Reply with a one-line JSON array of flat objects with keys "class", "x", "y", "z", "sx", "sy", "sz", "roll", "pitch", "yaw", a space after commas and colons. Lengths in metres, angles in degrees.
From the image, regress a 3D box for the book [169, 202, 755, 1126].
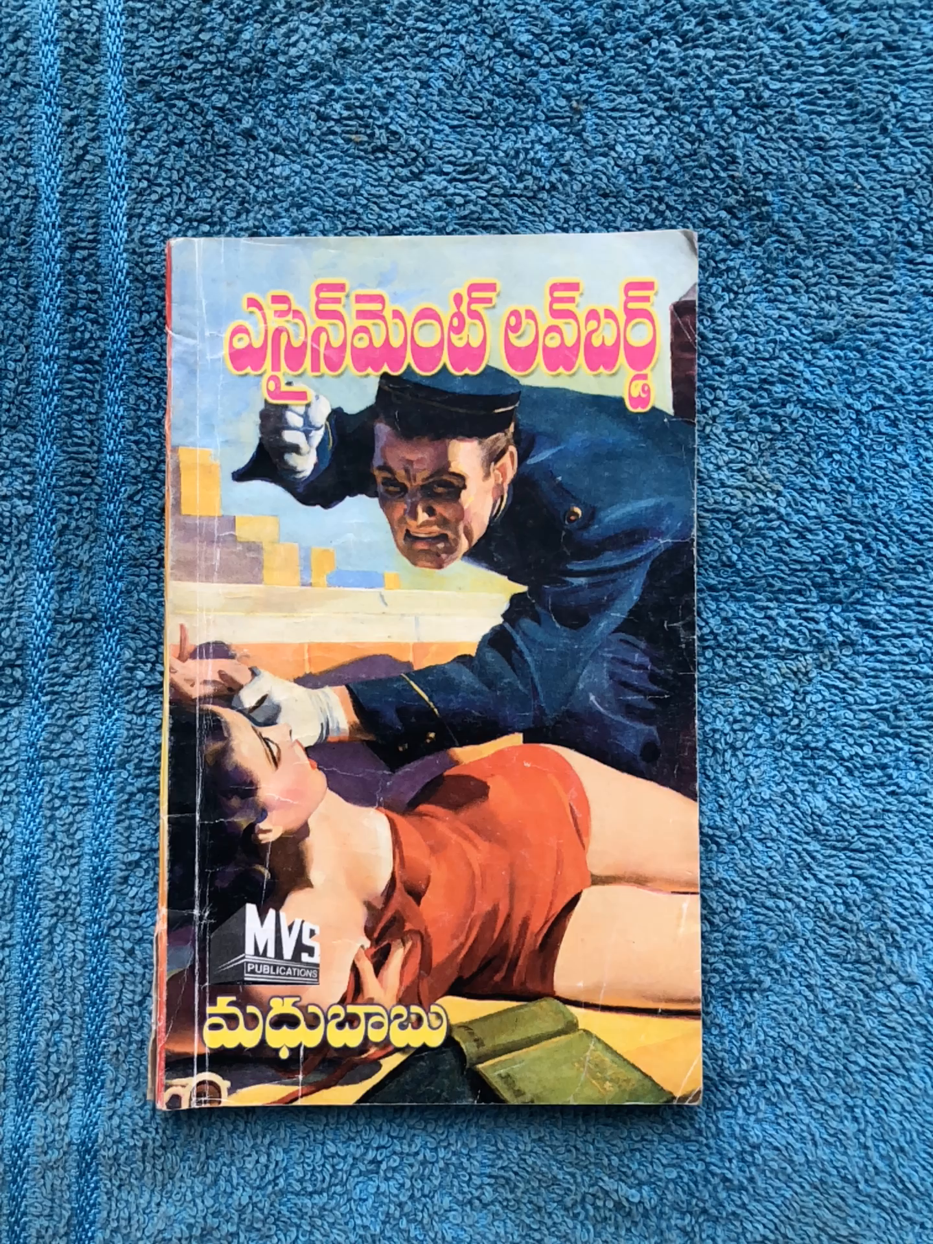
[{"class": "book", "x": -0.001, "y": 0.006, "z": 0.197, "sx": 0.100, "sy": 0.030, "sz": 0.160, "roll": 0, "pitch": 87, "yaw": -1}]
